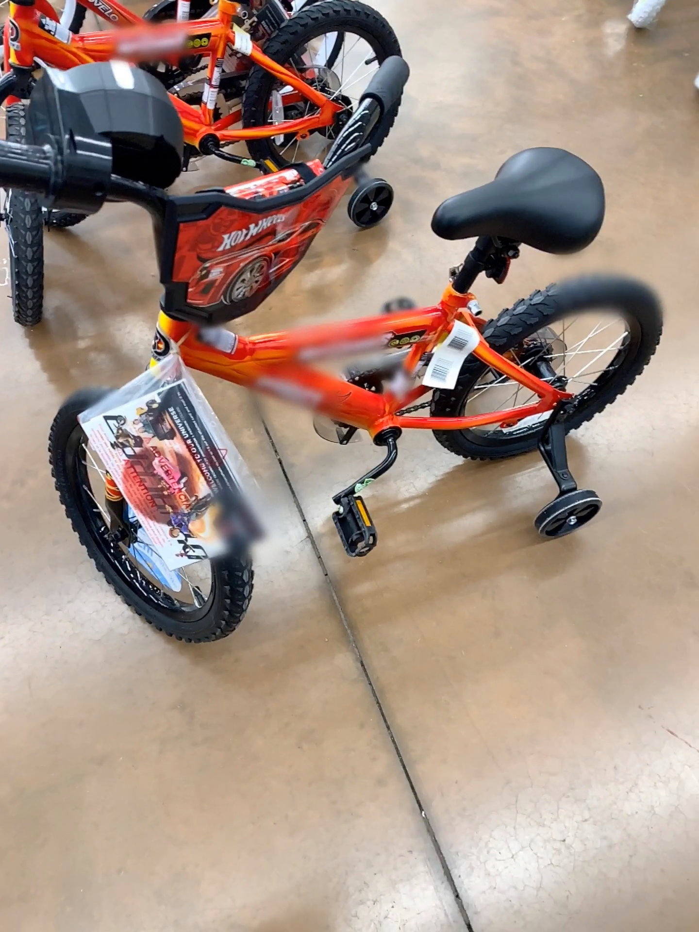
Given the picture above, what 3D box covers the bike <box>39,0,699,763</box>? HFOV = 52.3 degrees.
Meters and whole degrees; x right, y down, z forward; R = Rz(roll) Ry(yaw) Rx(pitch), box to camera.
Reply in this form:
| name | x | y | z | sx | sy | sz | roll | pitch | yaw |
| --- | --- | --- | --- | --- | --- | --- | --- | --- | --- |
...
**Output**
| name | x | y | z | sx | sy | sz | roll | pitch | yaw |
| --- | --- | --- | --- | --- | --- | --- | --- | --- | --- |
| bike | 0.106 | -0.139 | 0.996 | 0.740 | 0.825 | 0.511 | -30 | 61 | -13 |
